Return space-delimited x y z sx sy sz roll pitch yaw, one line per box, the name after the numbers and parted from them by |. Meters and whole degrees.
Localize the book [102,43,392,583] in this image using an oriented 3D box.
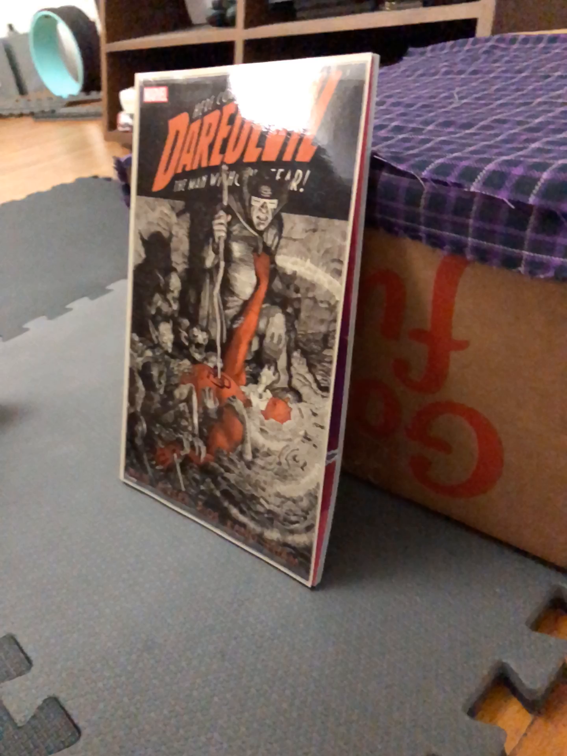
-0.035 -0.035 0.319 0.160 0.229 0.020 18 19 37 | book
